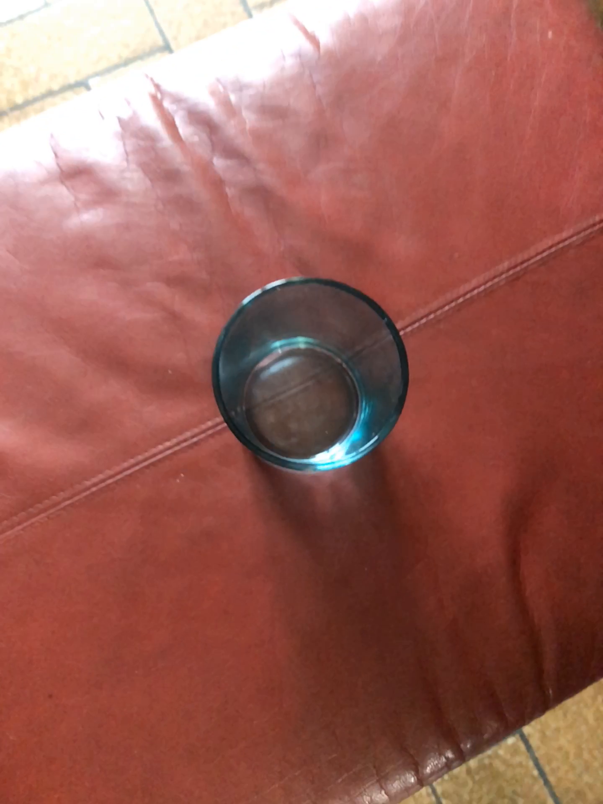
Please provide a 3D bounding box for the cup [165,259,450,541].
[{"bbox_3d":[0.002,0.004,0.271,0.070,0.090,0.070,0,82,-1],"label":"cup"}]
